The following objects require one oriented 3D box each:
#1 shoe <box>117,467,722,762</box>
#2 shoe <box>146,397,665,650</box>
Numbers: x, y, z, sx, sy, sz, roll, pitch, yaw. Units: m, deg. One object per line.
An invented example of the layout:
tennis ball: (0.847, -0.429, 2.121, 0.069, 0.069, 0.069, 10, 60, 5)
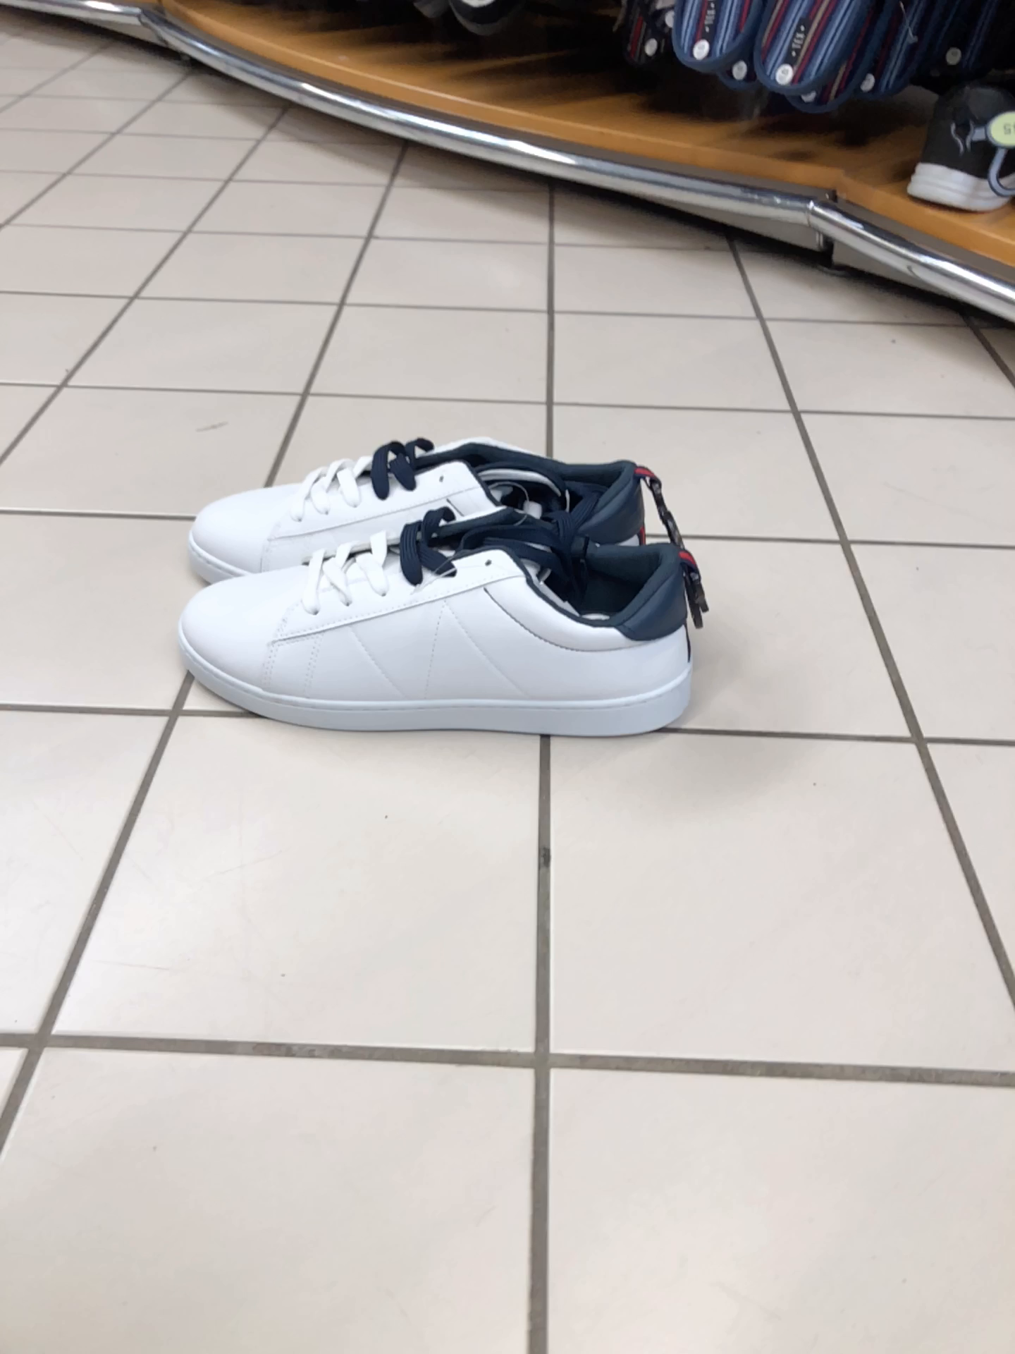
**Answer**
shoe: (-0.040, -0.036, 0.601, 0.290, 0.099, 0.101, 4, 38, 3)
shoe: (-0.055, -0.097, 0.688, 0.290, 0.099, 0.101, 4, 38, 3)
